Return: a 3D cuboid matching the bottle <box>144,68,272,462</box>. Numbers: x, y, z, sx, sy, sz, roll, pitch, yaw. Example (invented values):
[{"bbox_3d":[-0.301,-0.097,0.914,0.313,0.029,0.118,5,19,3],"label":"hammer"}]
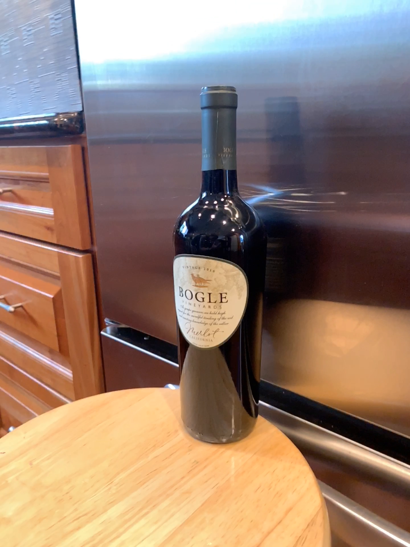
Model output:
[{"bbox_3d":[0.008,-0.001,0.383,0.080,0.319,0.080,-1,16,0],"label":"bottle"}]
